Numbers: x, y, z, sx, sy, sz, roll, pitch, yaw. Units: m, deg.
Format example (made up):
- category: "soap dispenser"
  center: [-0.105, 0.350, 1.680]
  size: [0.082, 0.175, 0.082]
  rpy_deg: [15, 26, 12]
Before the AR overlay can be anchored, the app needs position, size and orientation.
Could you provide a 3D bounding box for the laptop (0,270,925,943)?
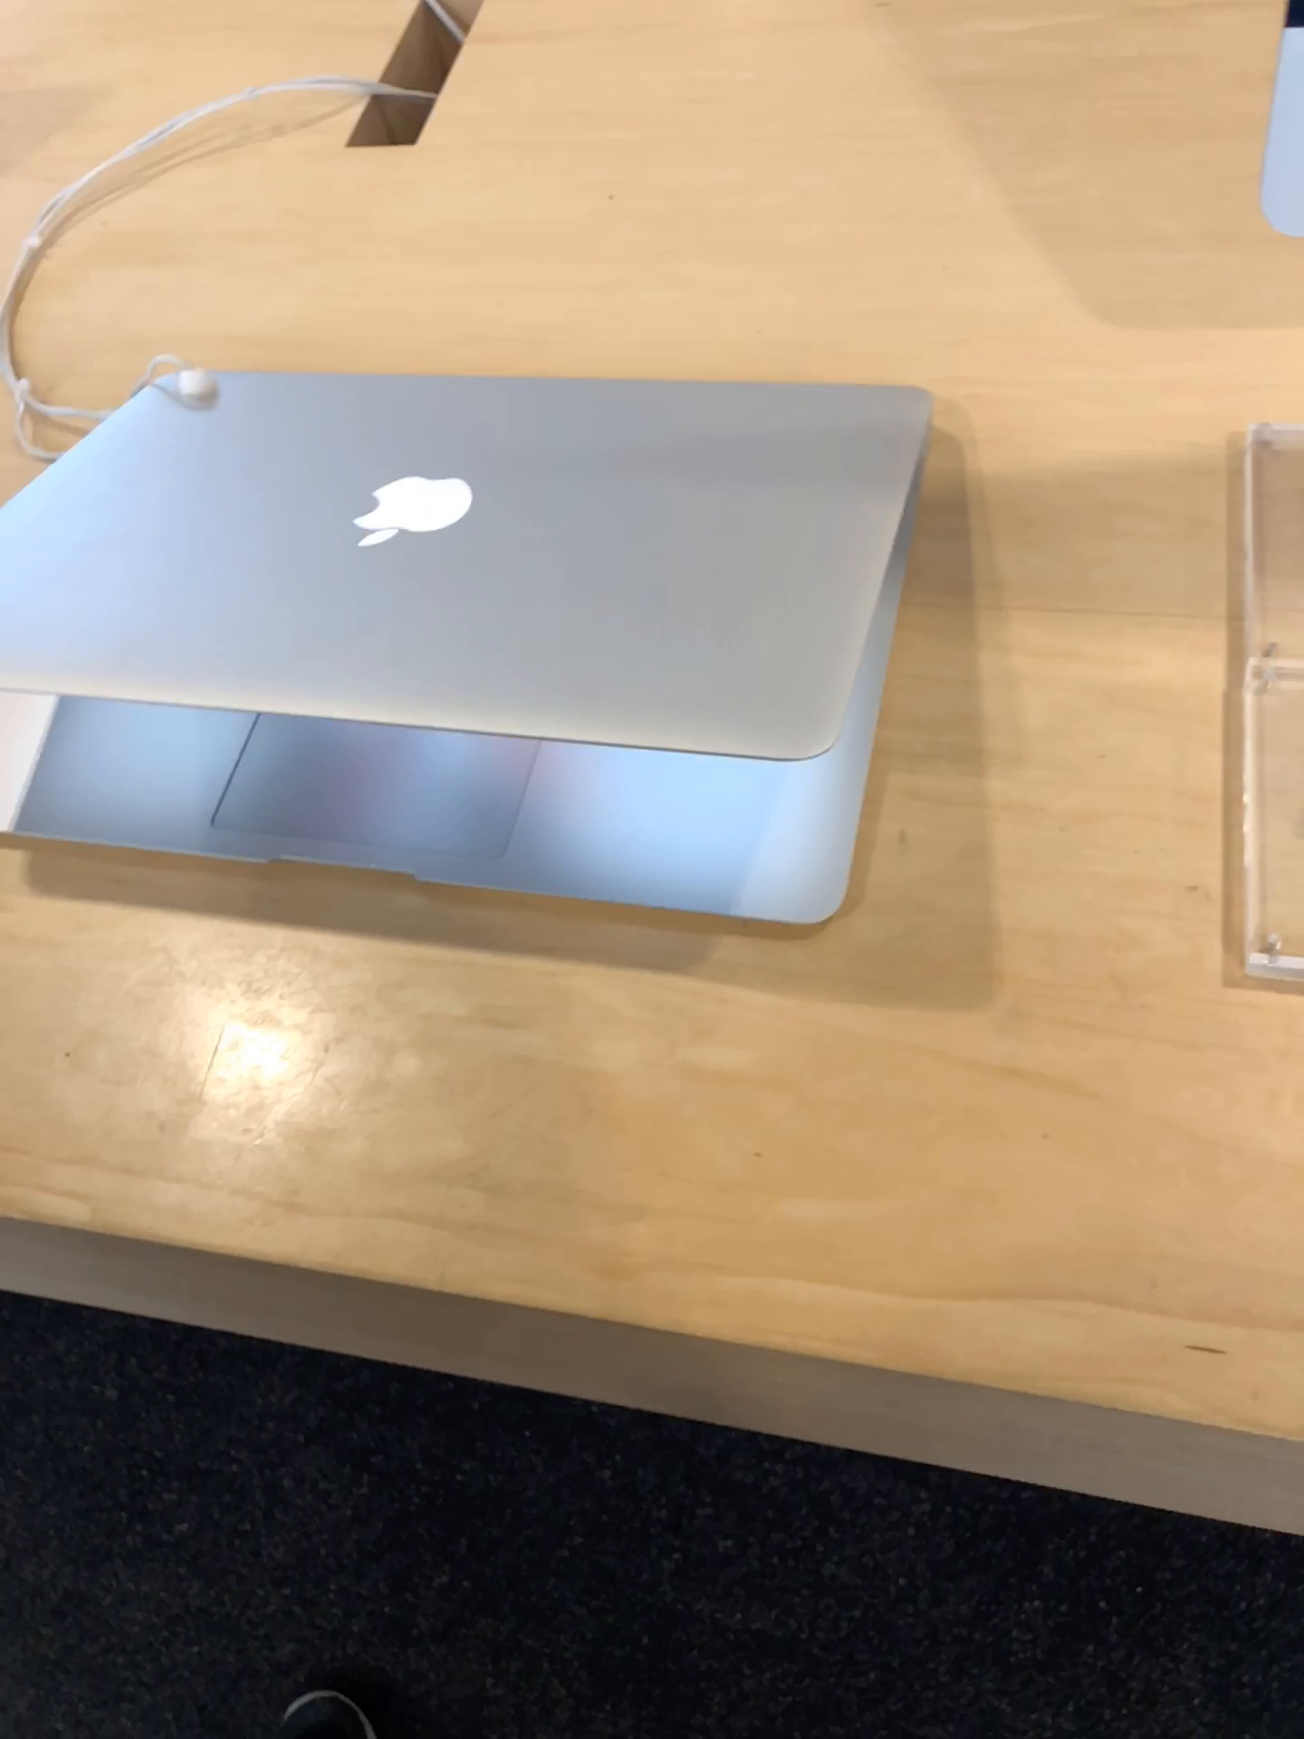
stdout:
- category: "laptop"
  center: [-0.081, -0.104, 0.484]
  size: [0.315, 0.067, 0.215]
  rpy_deg: [6, 59, 16]
